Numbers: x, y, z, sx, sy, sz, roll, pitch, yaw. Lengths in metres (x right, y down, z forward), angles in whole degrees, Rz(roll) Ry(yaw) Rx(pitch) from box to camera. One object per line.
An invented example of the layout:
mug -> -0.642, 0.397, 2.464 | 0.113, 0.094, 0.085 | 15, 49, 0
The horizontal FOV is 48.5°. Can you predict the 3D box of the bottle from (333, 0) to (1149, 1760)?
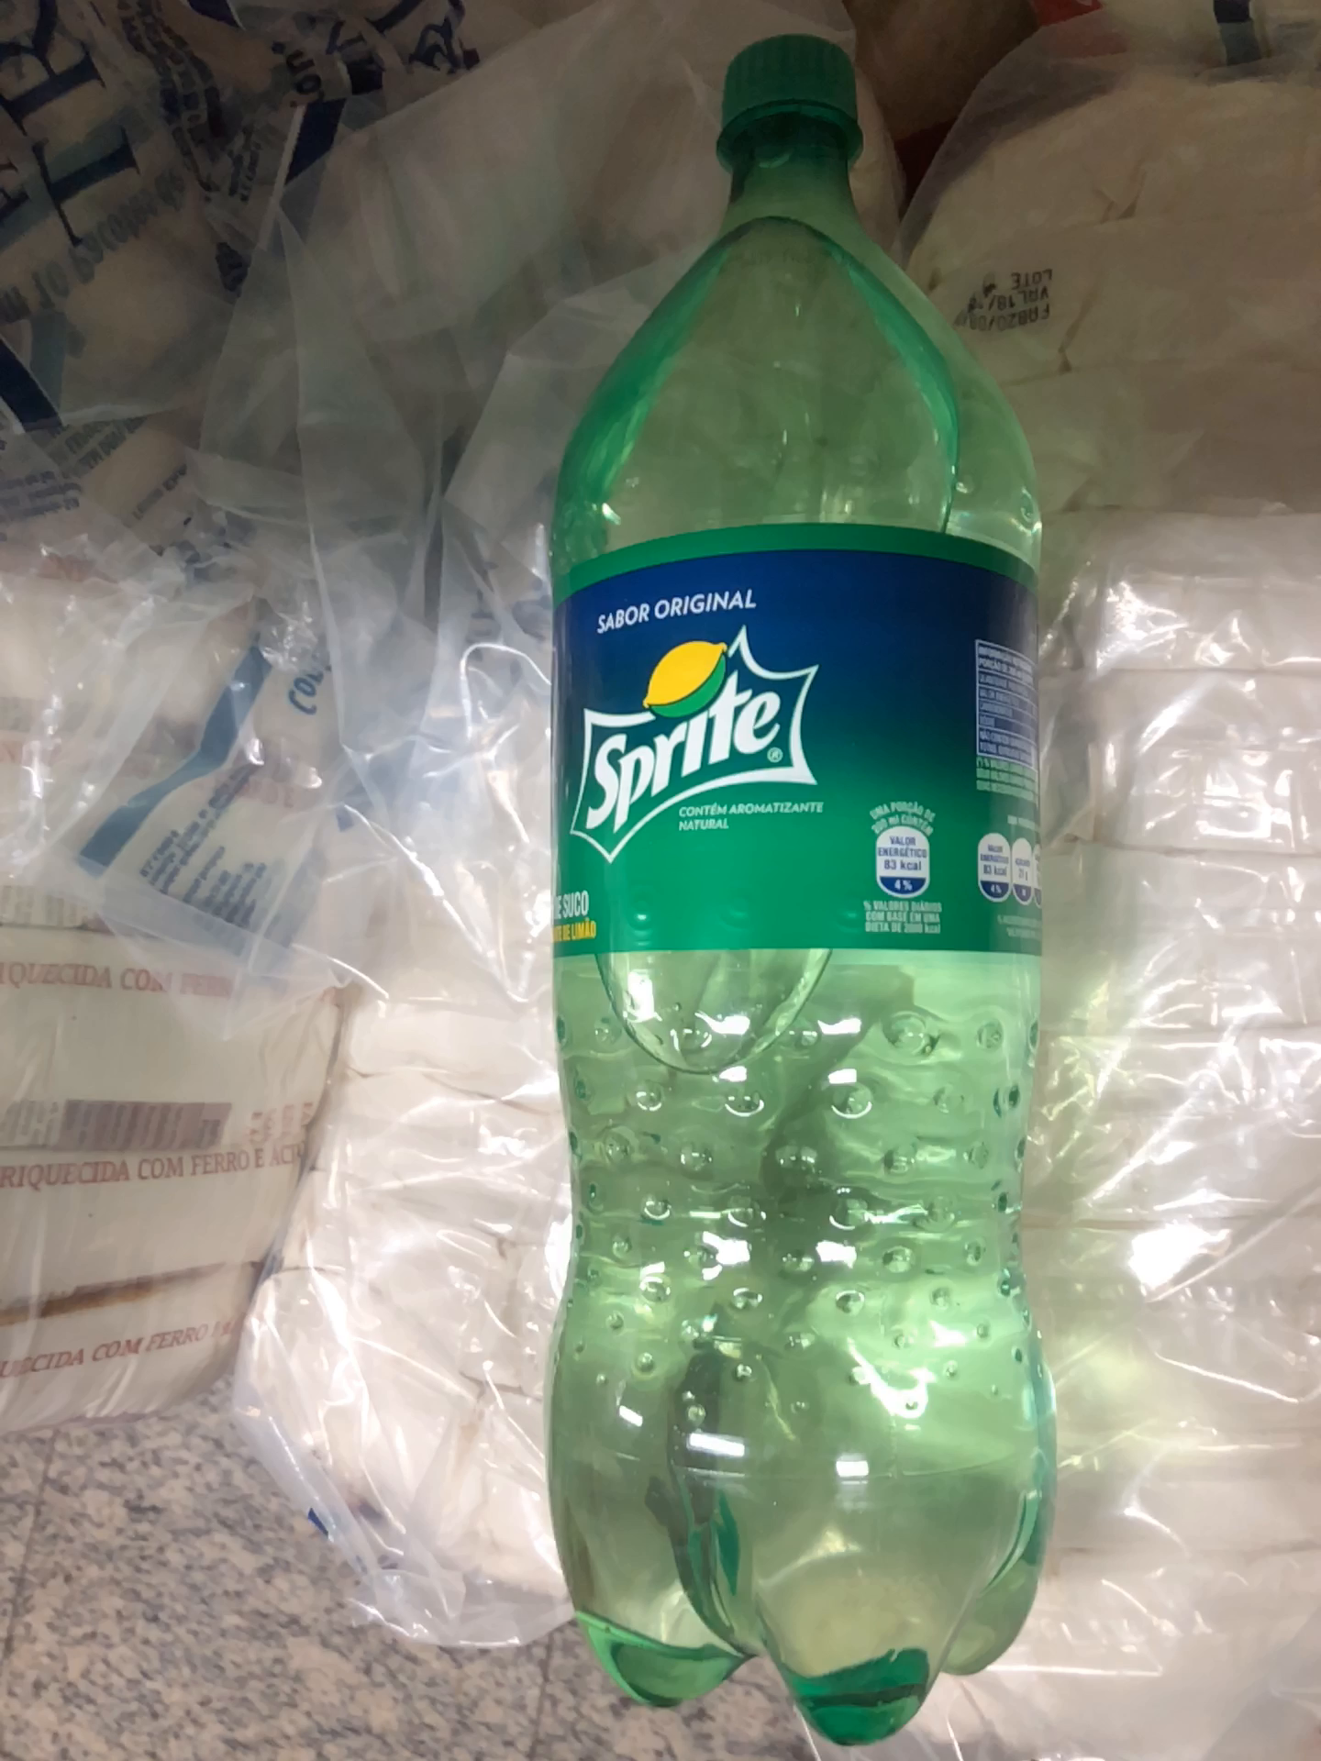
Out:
bottle -> 0.032, -0.039, 0.301 | 0.110, 0.110, 0.380 | -3, 75, 25
